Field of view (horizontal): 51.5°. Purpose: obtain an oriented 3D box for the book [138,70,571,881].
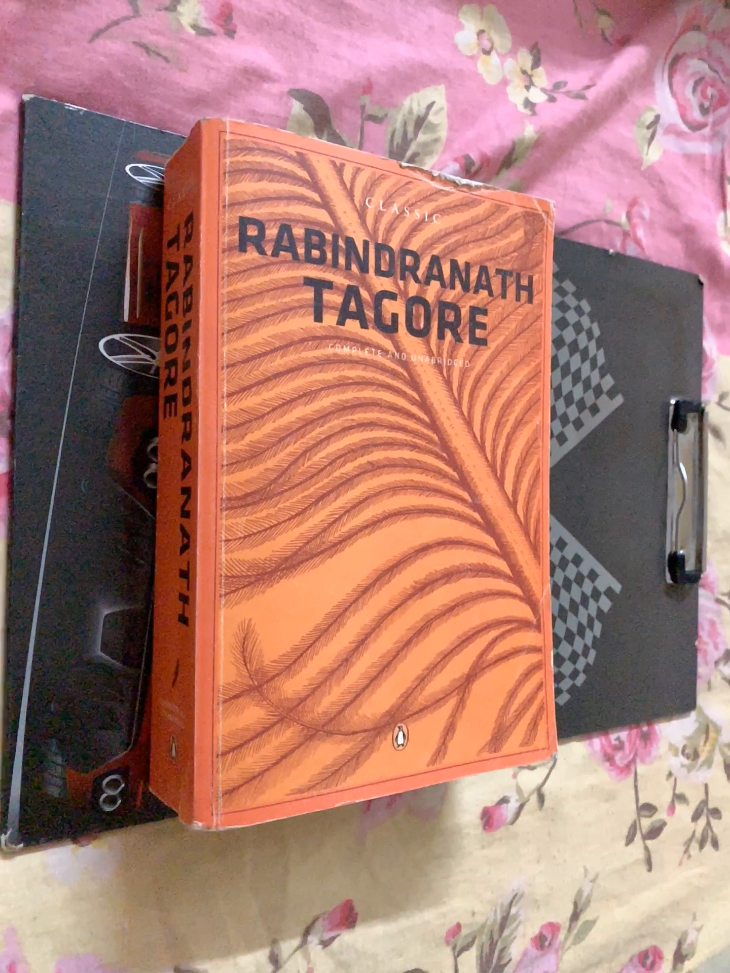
[{"bbox_3d":[-0.001,-0.003,0.255,0.131,0.060,0.210,2,86,-31],"label":"book"}]
